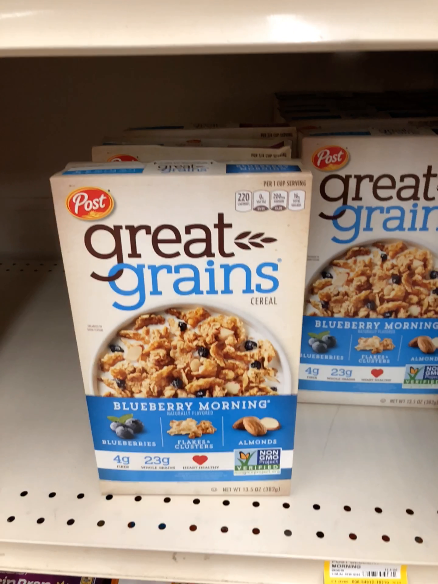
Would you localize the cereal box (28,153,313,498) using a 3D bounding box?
[{"bbox_3d":[-0.027,0.039,0.391,0.180,0.279,0.060,0,25,2],"label":"cereal box"}]
